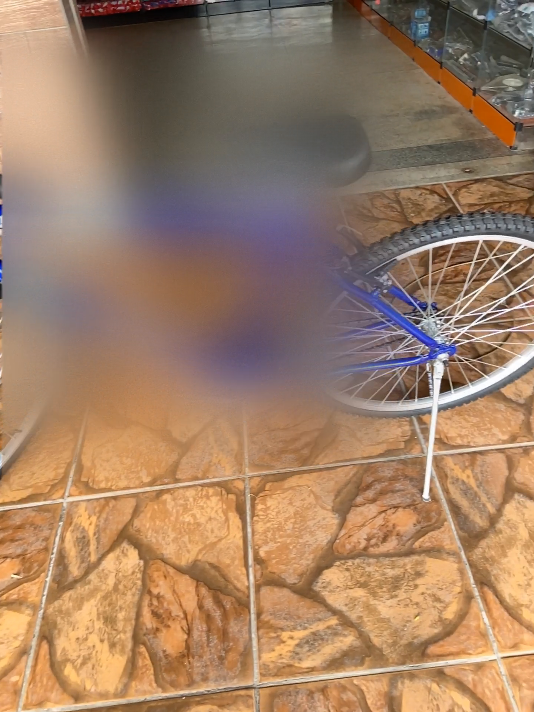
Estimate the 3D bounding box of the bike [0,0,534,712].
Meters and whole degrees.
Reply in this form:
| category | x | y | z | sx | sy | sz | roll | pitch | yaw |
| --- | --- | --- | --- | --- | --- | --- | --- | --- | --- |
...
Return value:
| category | x | y | z | sx | sy | sz | roll | pitch | yaw |
| --- | --- | --- | --- | --- | --- | --- | --- | --- | --- |
| bike | -0.081 | 0.061 | 0.943 | 1.525 | 1.013 | 0.575 | -18 | 42 | -7 |
